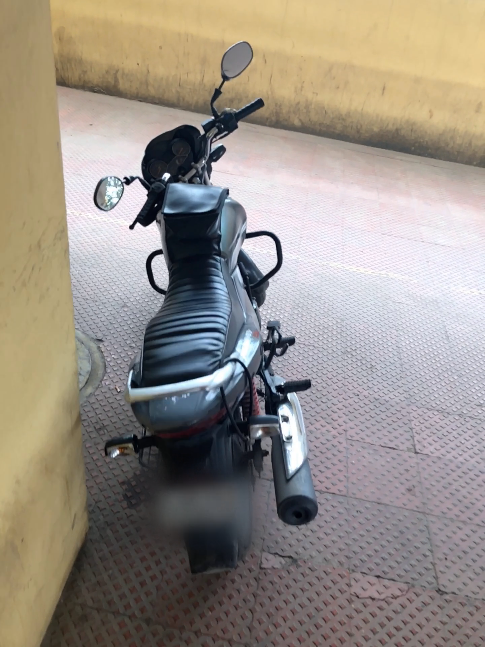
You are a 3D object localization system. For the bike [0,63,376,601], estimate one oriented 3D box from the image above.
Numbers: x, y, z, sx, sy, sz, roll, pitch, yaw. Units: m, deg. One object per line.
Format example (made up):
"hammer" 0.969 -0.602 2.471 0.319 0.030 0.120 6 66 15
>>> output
"bike" -0.279 -0.063 1.871 0.720 1.166 1.476 2 38 -10
